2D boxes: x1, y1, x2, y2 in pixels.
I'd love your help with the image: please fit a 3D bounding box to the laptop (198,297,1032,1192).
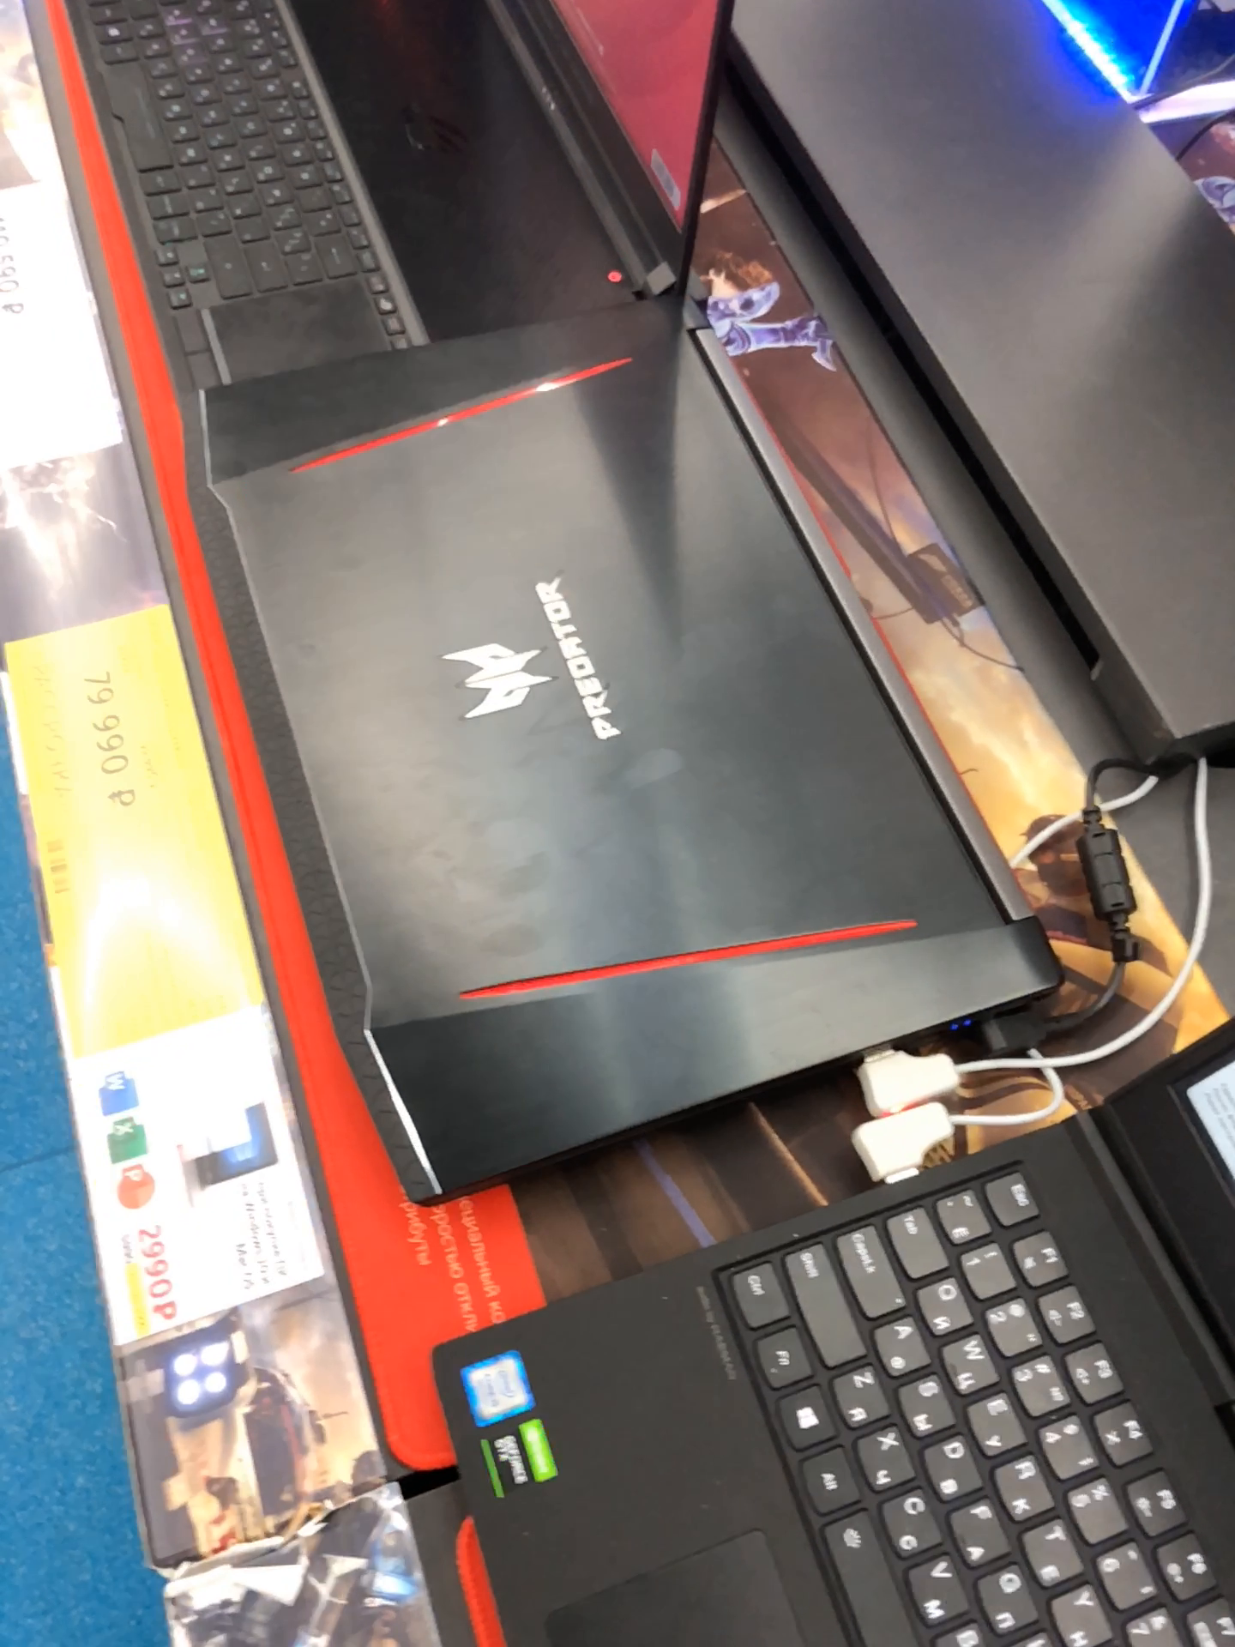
[{"bbox_3d":[-0.018,-0.067,0.557,0.228,0.004,0.378,-16,64,-13],"label":"laptop"}]
